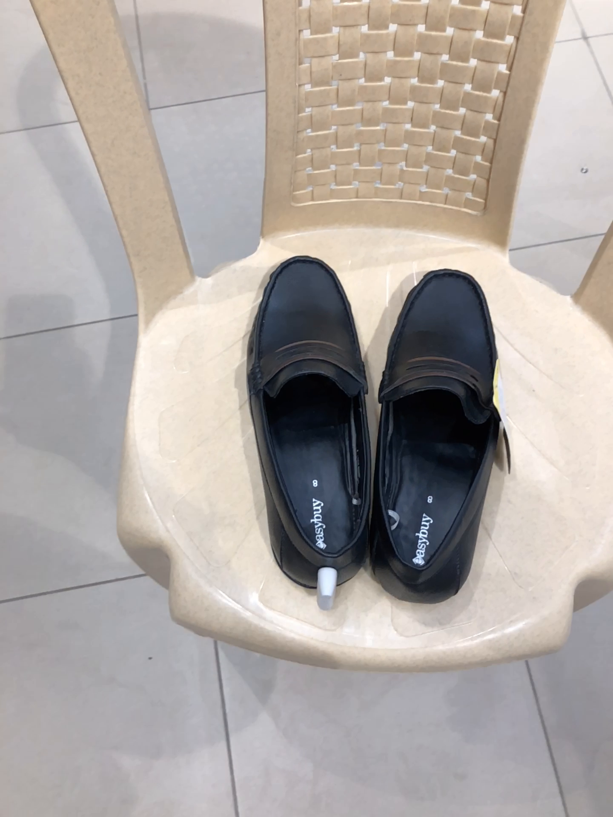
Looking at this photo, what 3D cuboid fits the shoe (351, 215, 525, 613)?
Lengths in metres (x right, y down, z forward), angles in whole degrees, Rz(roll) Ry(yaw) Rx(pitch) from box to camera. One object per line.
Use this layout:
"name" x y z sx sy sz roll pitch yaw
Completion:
"shoe" 0.100 0.002 0.519 0.100 0.088 0.283 7 72 5

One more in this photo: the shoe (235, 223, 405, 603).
"shoe" 0.006 0.003 0.528 0.100 0.088 0.276 -5 71 1
